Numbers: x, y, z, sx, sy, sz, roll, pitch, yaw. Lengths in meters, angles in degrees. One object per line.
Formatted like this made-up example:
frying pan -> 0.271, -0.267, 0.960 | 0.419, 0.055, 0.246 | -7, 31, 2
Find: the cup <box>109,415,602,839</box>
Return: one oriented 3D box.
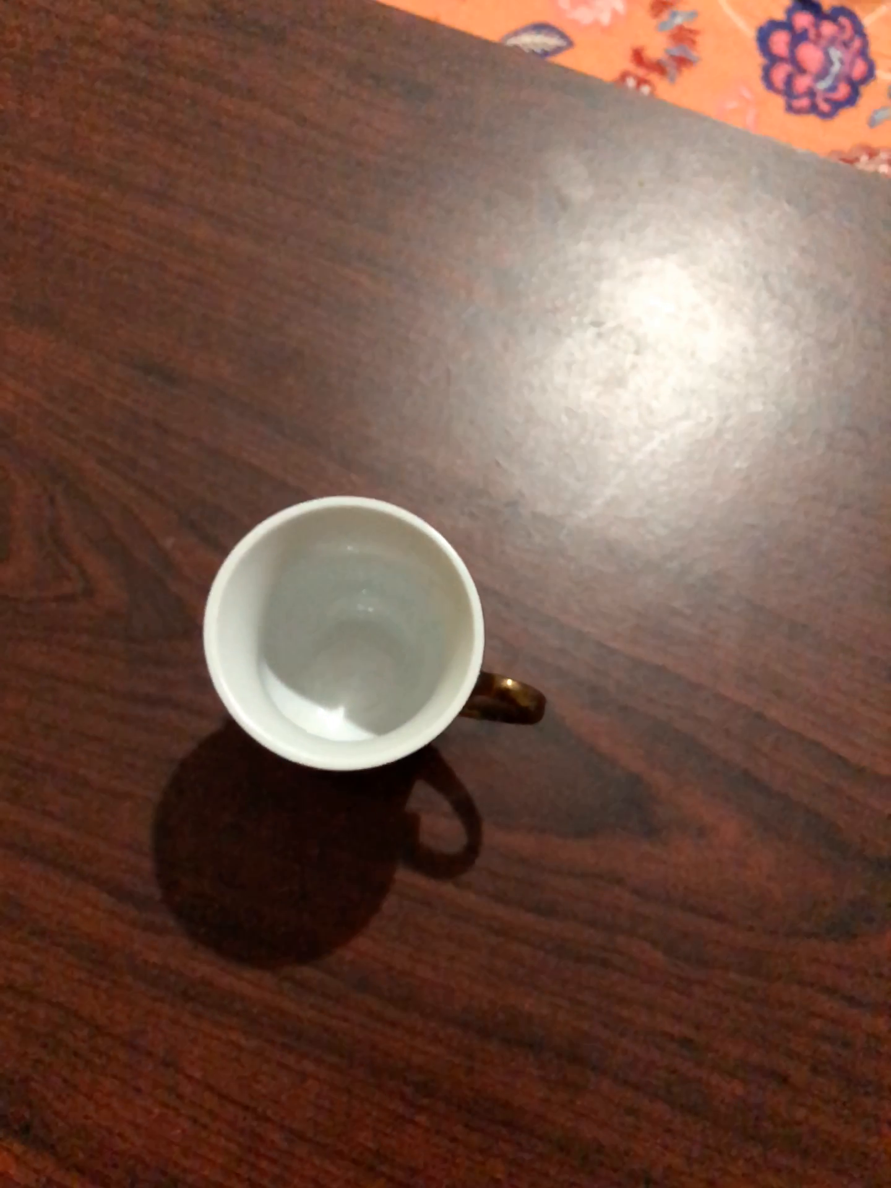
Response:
cup -> -0.018, 0.010, 0.239 | 0.090, 0.050, 0.070 | 14, 72, 2
